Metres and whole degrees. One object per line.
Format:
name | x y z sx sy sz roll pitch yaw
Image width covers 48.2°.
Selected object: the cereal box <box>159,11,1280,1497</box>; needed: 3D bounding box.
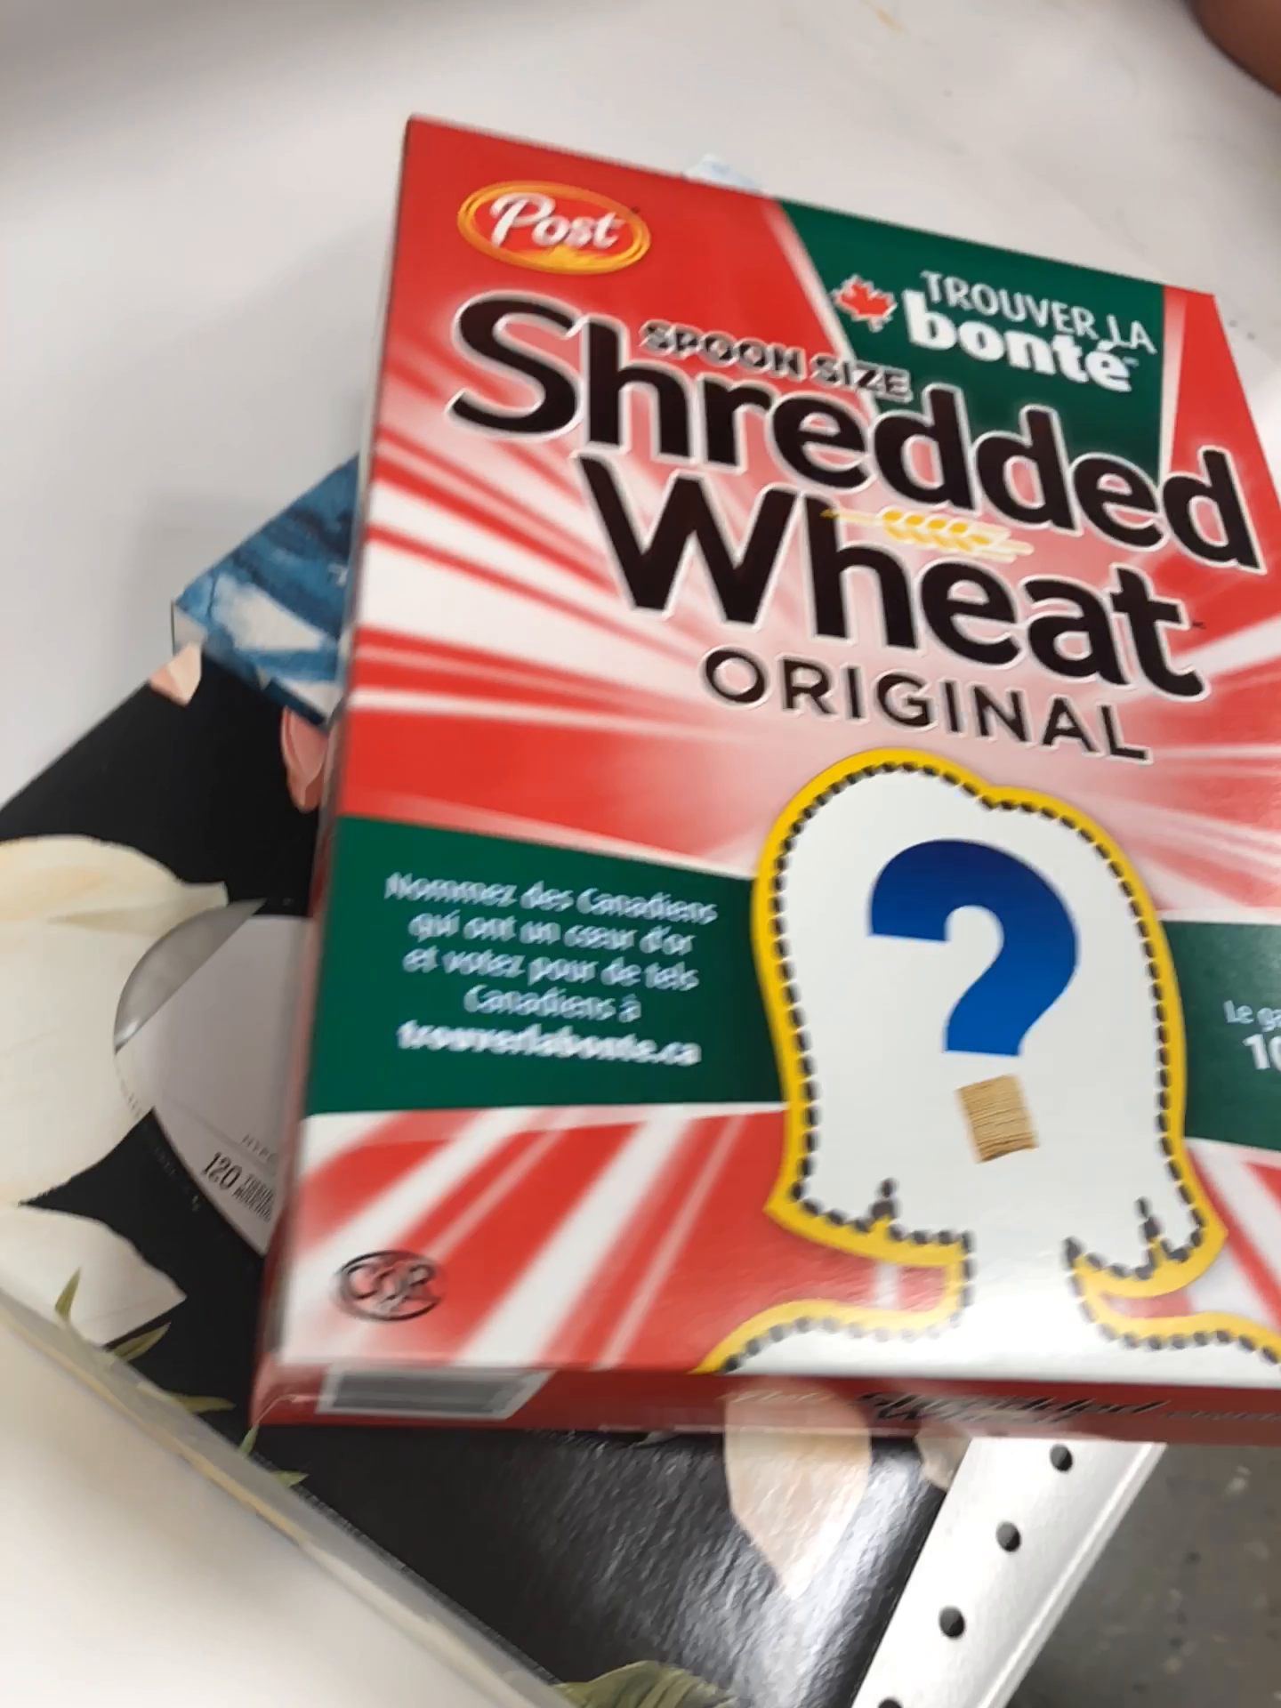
cereal box | 0.050 -0.032 0.283 0.230 0.060 0.280 7 59 -12
